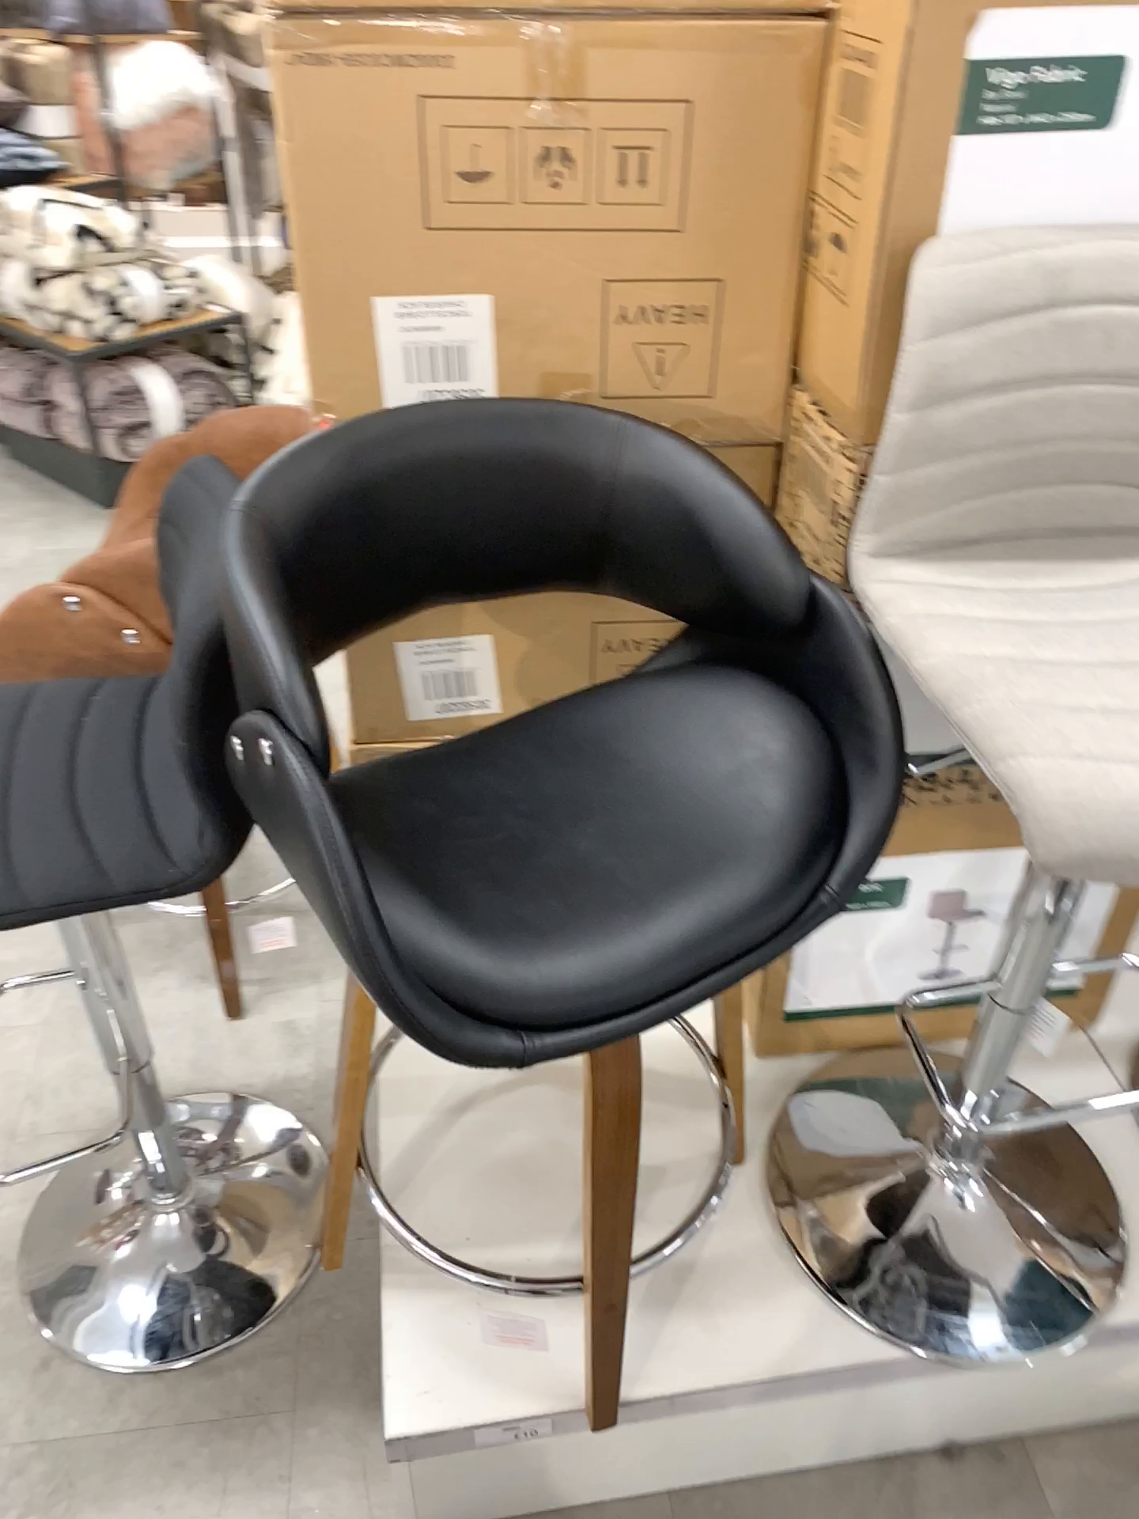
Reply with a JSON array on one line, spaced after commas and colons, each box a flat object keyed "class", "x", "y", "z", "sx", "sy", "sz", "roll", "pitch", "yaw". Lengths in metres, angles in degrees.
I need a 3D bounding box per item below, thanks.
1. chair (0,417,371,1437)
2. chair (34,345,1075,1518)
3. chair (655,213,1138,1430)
[{"class": "chair", "x": -0.536, "y": 0.202, "z": 1.333, "sx": 0.467, "sy": 1.016, "sz": 0.489, "roll": -8, "pitch": 33, "yaw": -13}, {"class": "chair", "x": -0.019, "y": 0.178, "z": 1.139, "sx": 0.566, "sy": 0.897, "sz": 0.550, "roll": -26, "pitch": 44, "yaw": -28}, {"class": "chair", "x": 0.383, "y": 0.094, "z": 1.020, "sx": 0.434, "sy": 0.967, "sz": 0.441, "roll": -3, "pitch": 36, "yaw": -10}]
